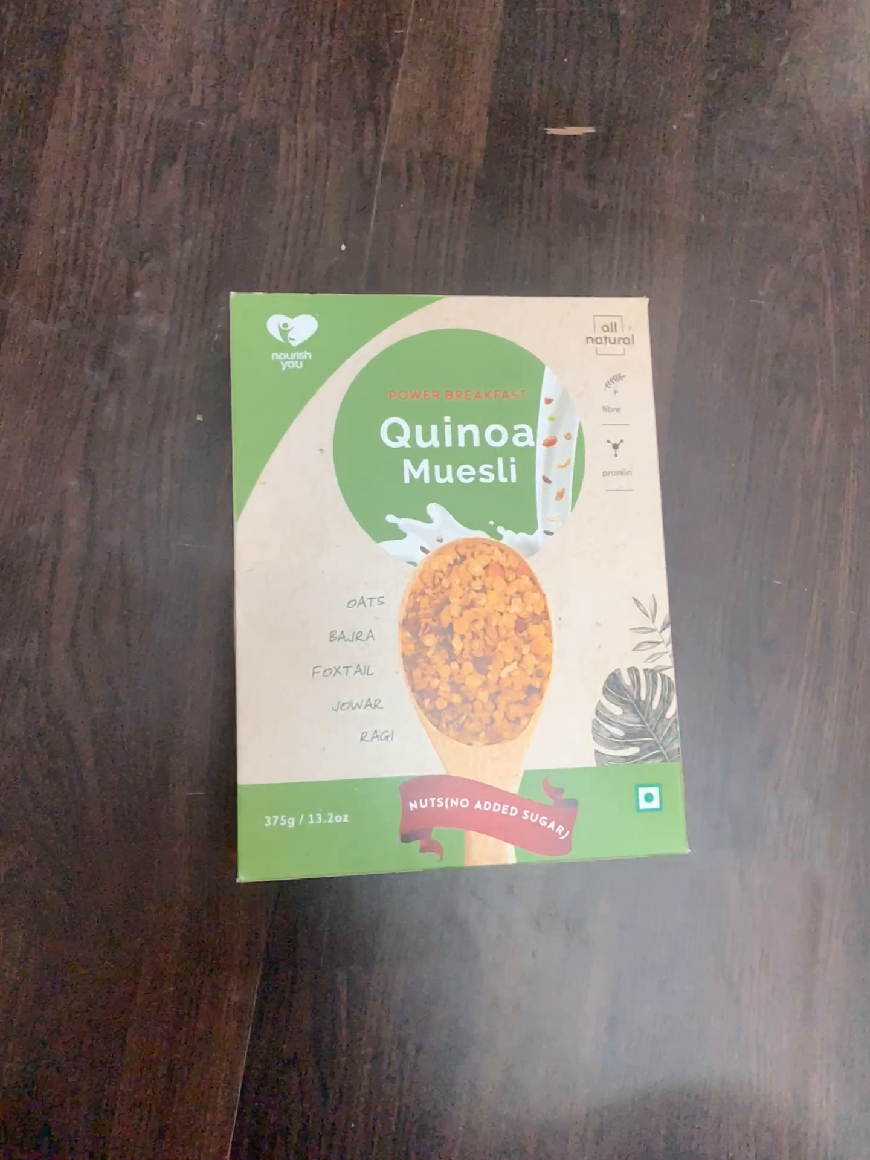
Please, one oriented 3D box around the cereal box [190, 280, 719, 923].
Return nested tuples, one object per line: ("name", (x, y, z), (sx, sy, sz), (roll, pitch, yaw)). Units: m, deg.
("cereal box", (0.003, 0.005, 0.334), (0.170, 0.070, 0.210), (-2, 85, -5))
